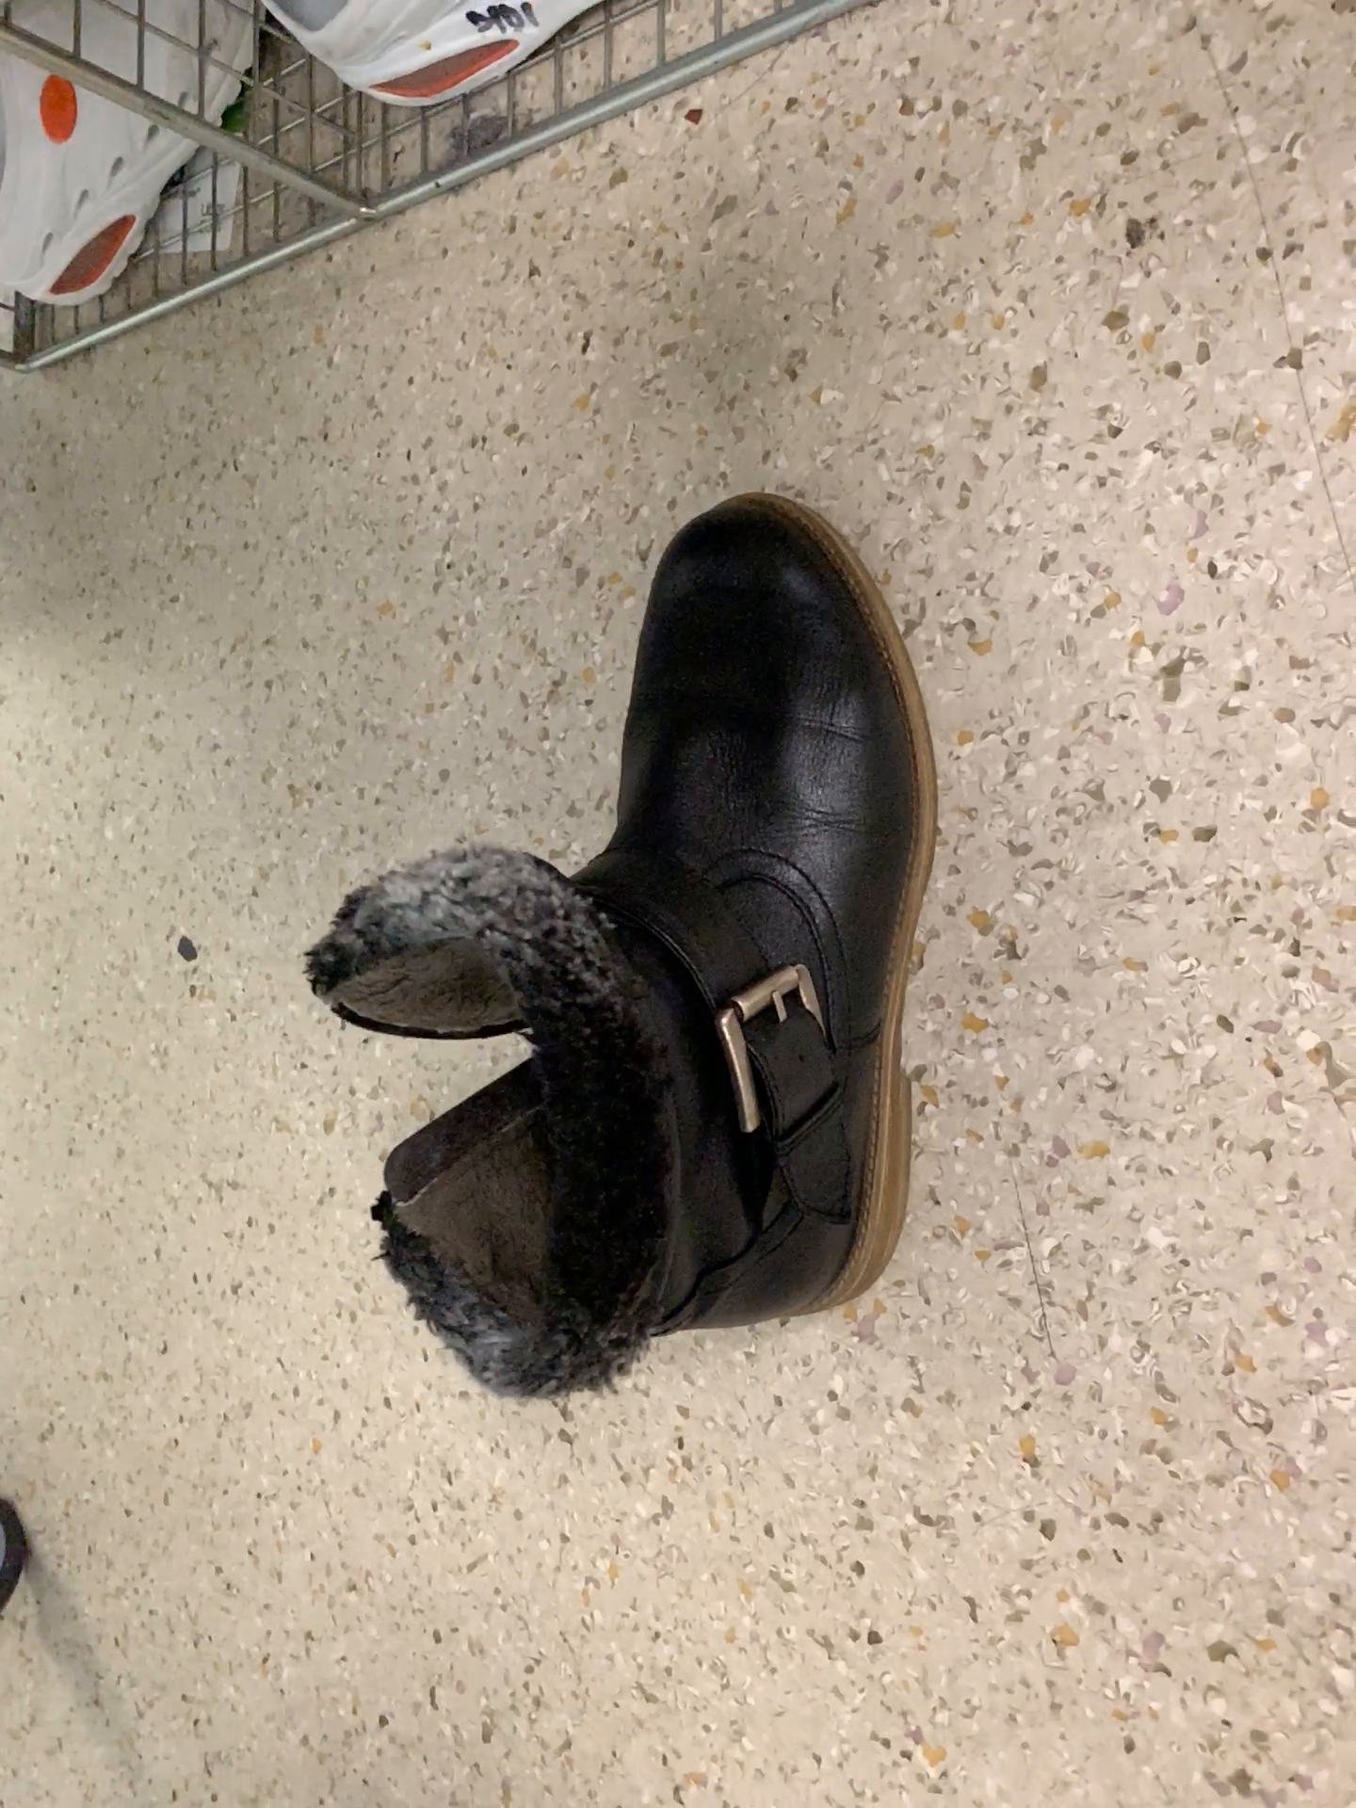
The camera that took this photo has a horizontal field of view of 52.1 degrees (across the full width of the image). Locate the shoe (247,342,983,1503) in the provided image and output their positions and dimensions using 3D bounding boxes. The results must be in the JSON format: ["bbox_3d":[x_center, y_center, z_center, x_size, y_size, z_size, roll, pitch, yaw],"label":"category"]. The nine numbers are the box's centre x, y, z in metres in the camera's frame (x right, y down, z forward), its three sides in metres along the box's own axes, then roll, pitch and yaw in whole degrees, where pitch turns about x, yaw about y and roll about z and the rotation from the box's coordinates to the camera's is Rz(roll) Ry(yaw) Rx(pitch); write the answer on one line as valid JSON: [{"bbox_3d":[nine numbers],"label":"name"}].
[{"bbox_3d":[-0.010,0.005,0.380,0.105,0.168,0.236,-5,86,39],"label":"shoe"}]
